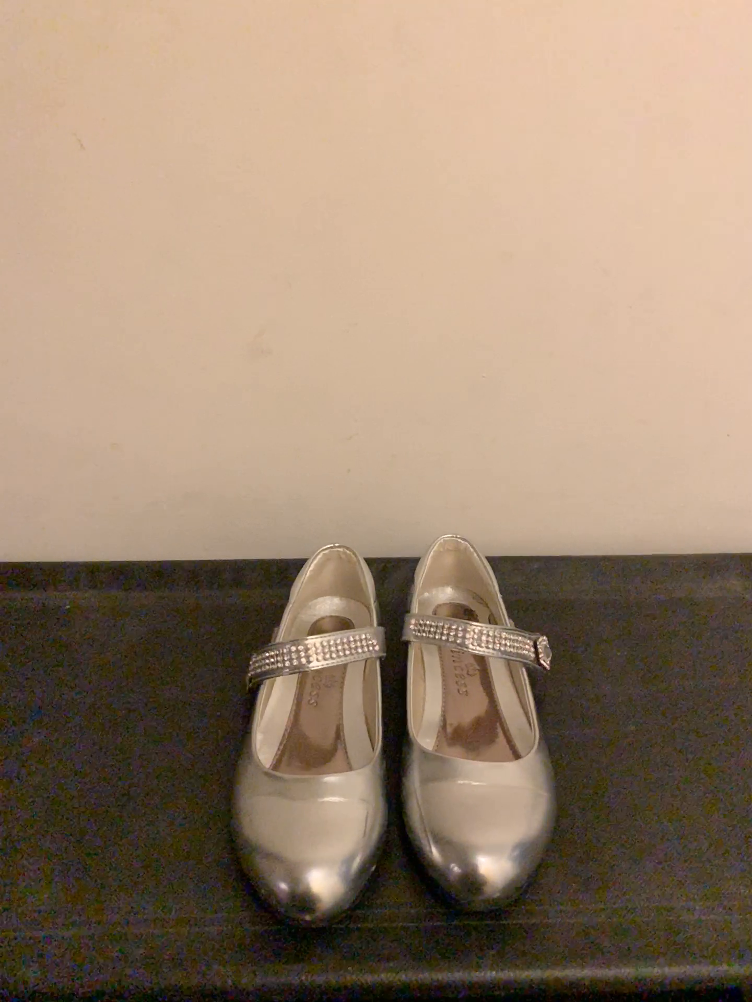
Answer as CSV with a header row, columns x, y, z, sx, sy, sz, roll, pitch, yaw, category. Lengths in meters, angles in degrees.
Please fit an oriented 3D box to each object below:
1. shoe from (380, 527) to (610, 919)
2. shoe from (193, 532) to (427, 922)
x,y,z,sx,sy,sz,roll,pitch,yaw,category
0.053,0.103,0.405,0.090,0.089,0.182,-3,31,4,shoe
-0.023,0.106,0.408,0.090,0.089,0.182,-3,31,4,shoe
